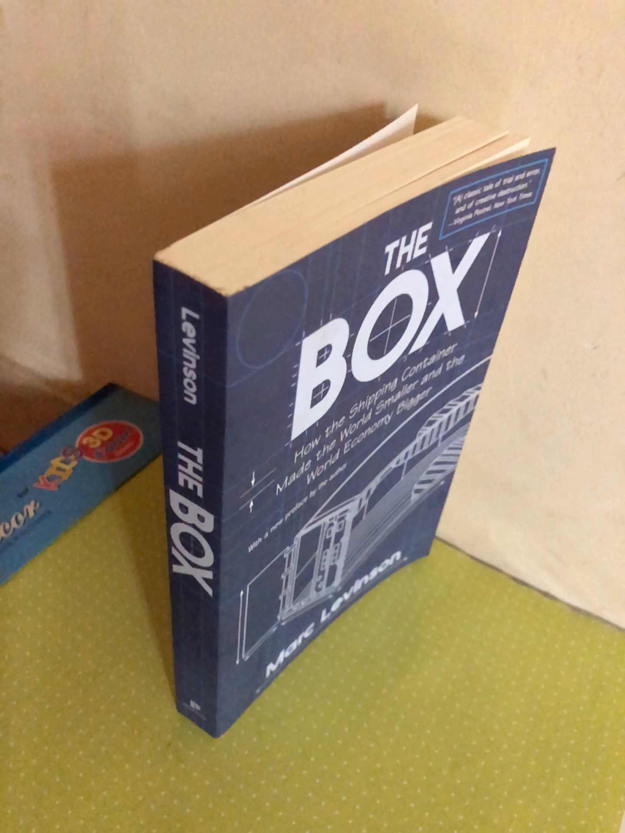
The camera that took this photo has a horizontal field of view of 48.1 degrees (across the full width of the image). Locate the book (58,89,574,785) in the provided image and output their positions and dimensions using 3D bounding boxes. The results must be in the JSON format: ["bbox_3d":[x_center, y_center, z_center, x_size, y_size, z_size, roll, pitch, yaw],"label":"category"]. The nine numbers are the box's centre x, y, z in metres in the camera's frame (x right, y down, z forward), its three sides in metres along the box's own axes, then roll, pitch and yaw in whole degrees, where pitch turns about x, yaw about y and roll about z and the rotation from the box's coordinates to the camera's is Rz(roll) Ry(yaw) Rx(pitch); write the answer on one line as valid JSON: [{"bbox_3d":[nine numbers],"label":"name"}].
[{"bbox_3d":[0.007,0.009,0.273,0.050,0.219,0.181,31,45,24],"label":"book"}]
